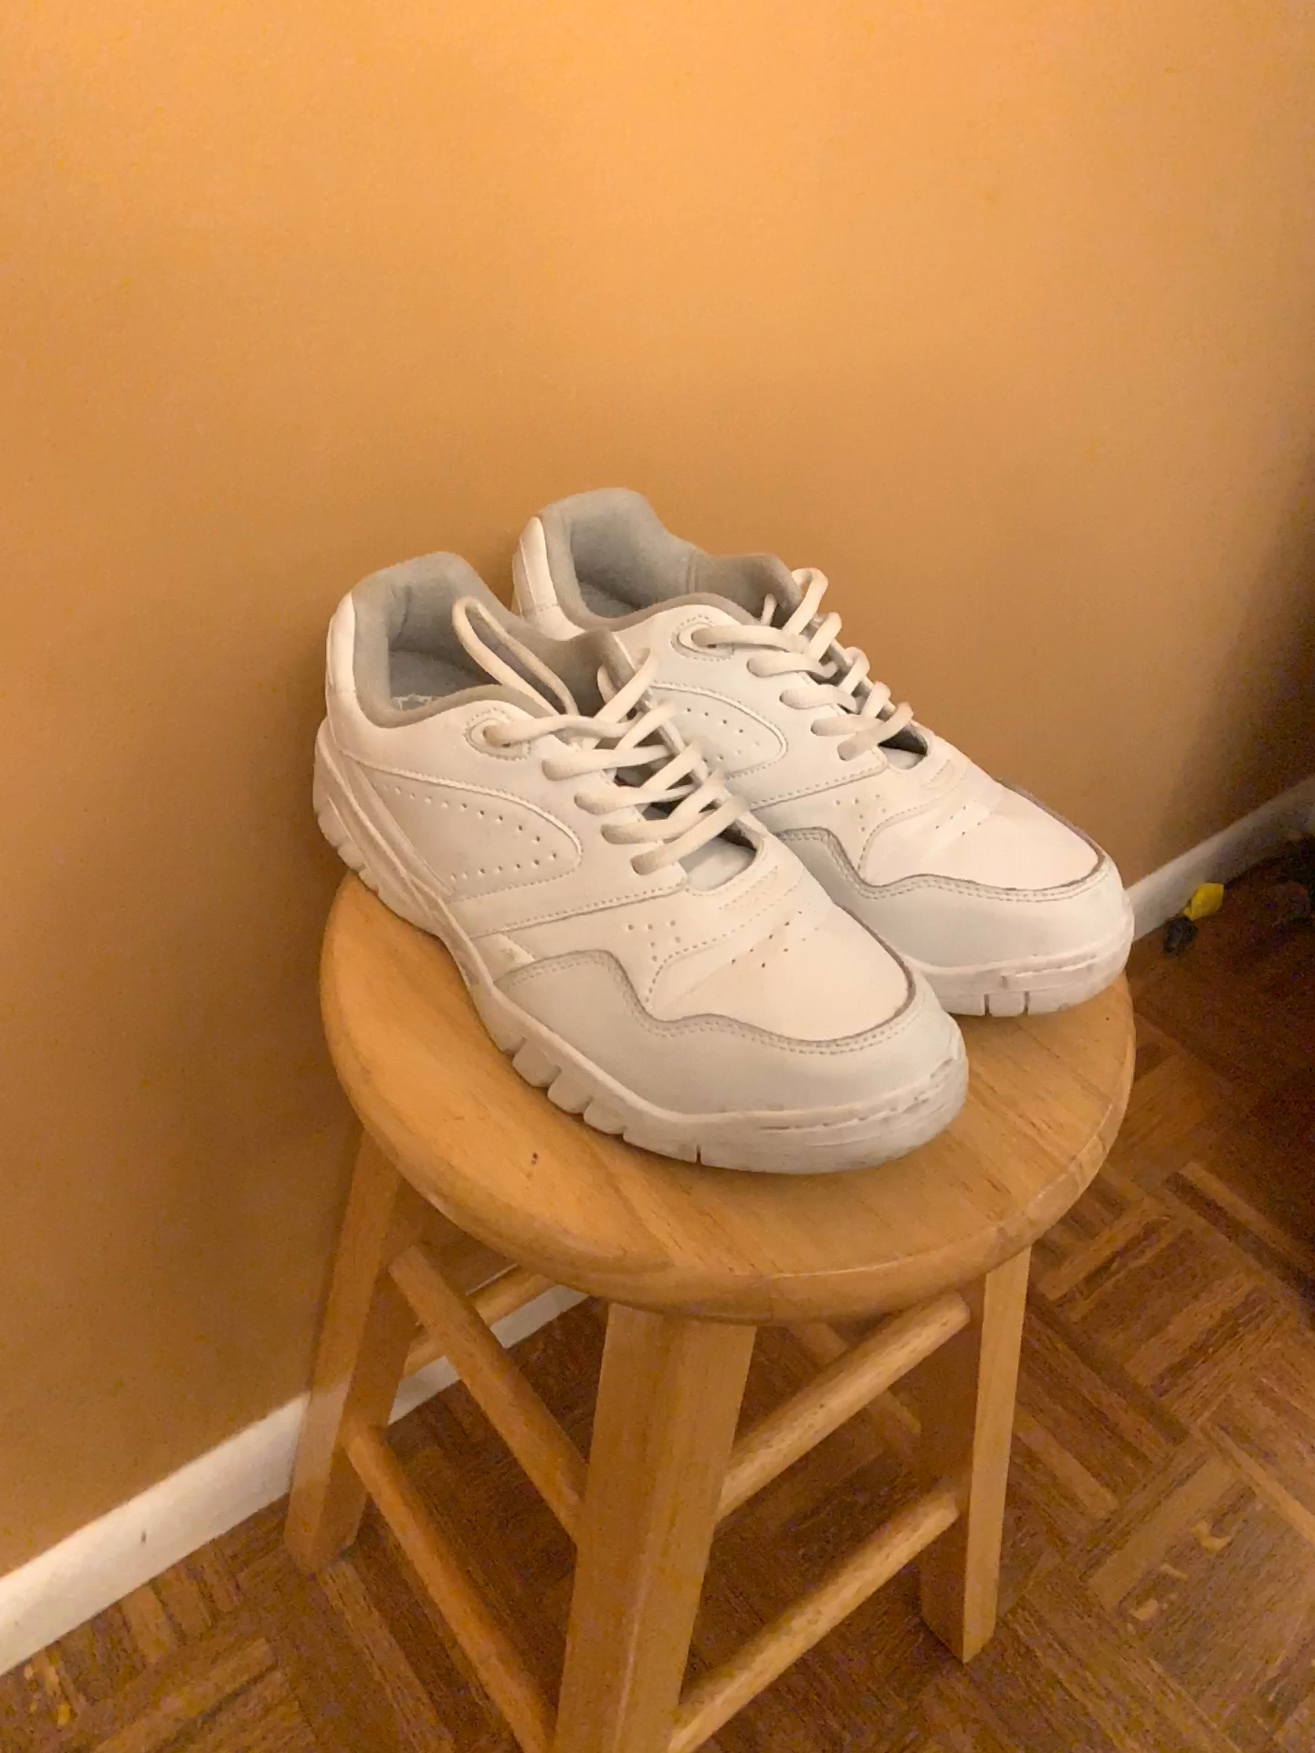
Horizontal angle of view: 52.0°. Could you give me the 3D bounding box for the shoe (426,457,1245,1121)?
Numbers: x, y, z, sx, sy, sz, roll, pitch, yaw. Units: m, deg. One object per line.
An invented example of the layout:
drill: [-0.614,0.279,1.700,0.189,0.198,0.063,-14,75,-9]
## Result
shoe: [0.052,-0.049,0.514,0.271,0.109,0.120,30,46,27]

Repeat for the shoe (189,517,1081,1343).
shoe: [-0.022,-0.004,0.456,0.130,0.109,0.271,-29,51,-34]
